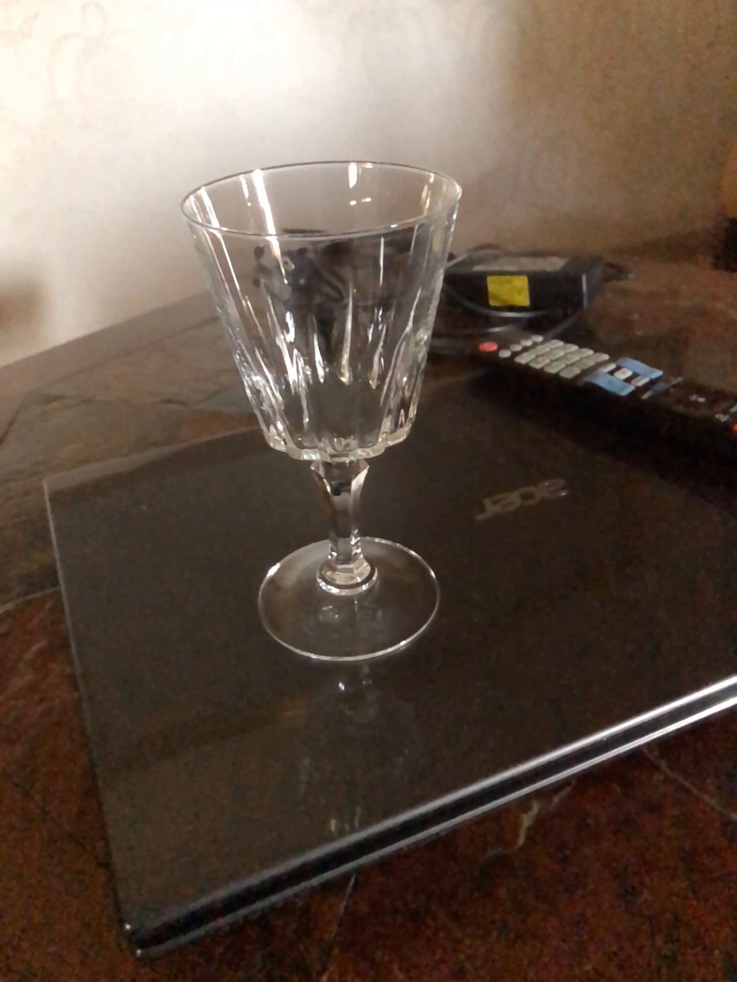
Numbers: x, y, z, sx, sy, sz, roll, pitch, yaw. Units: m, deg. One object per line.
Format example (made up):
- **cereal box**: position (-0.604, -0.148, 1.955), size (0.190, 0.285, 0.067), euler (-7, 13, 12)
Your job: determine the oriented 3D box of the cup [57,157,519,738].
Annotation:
- **cup**: position (-0.015, -0.021, 0.285), size (0.100, 0.159, 0.101), euler (-3, 32, 2)
